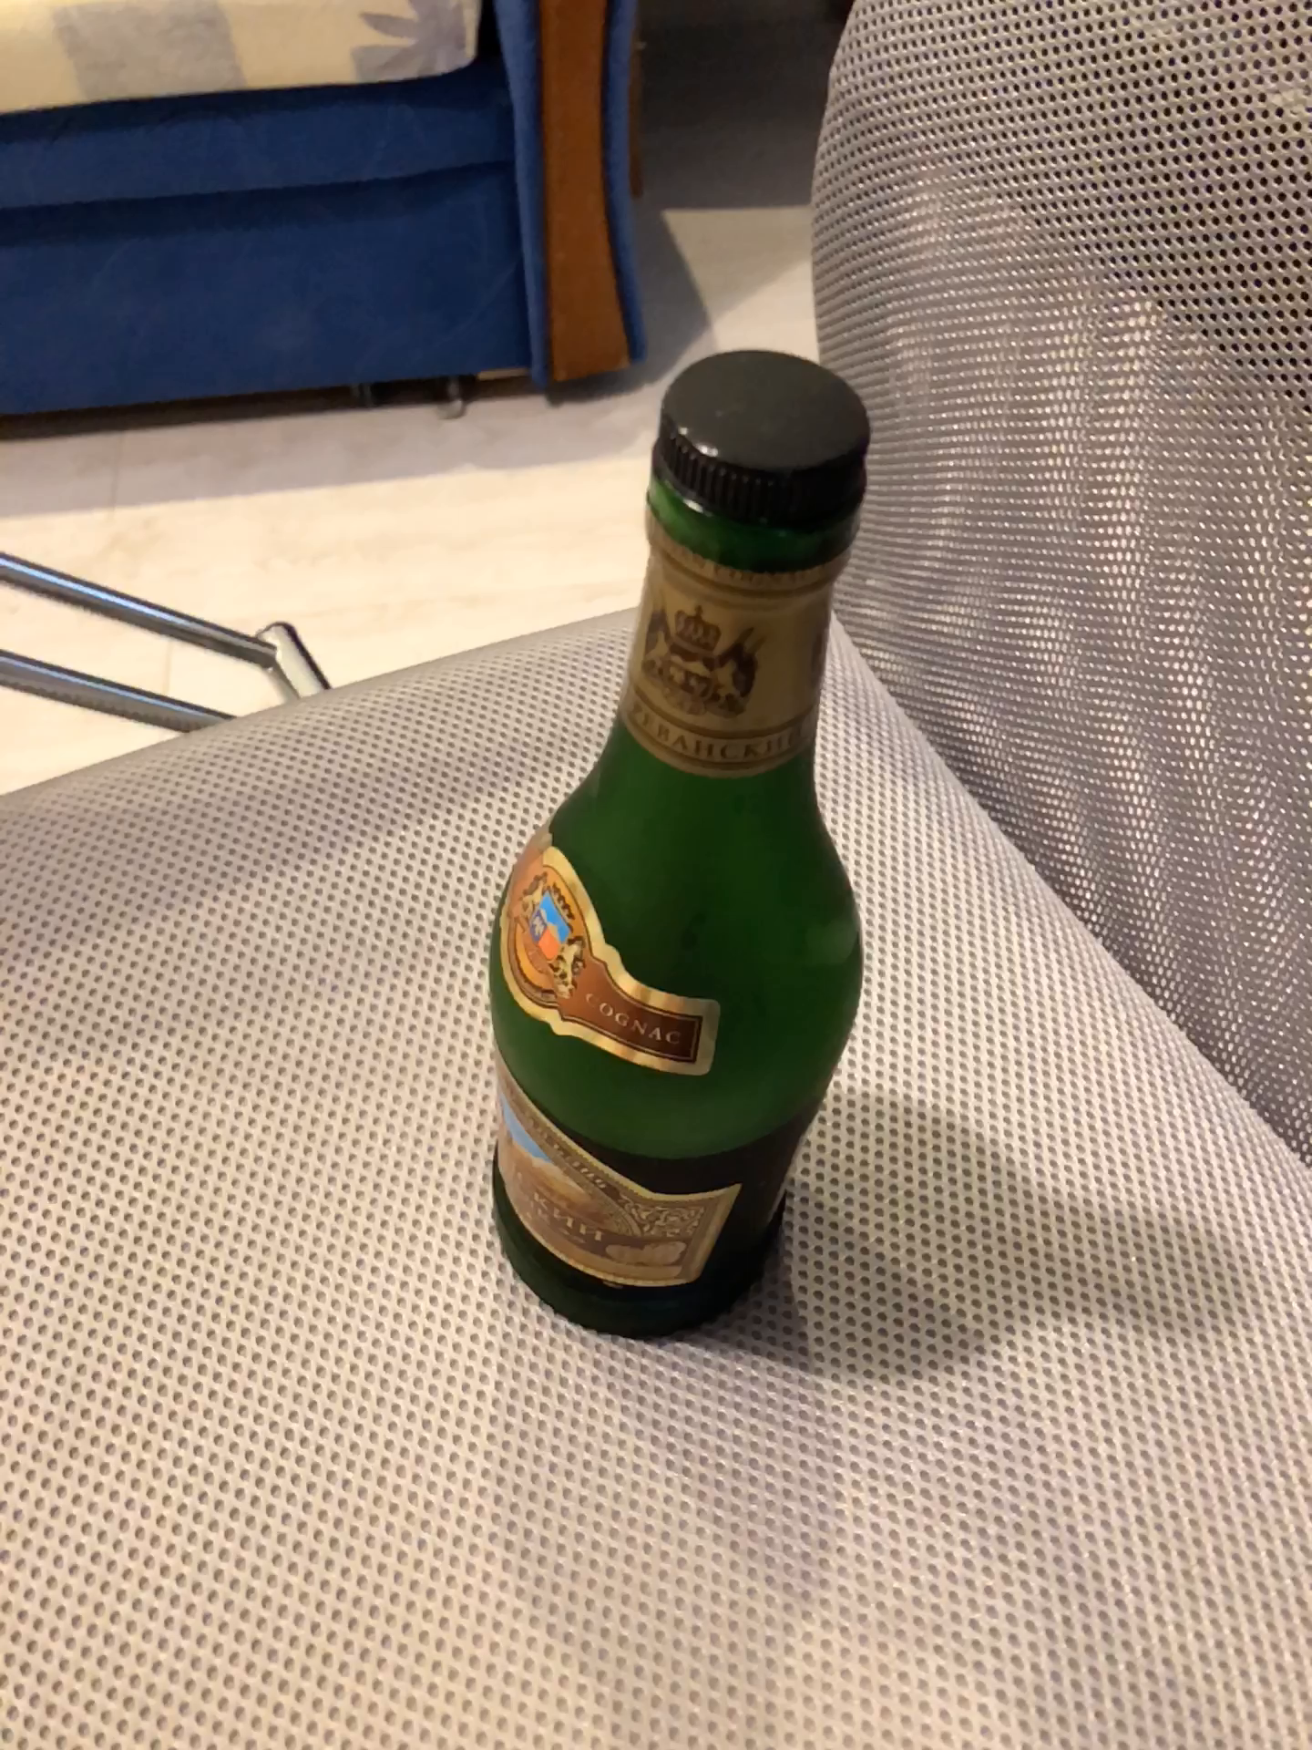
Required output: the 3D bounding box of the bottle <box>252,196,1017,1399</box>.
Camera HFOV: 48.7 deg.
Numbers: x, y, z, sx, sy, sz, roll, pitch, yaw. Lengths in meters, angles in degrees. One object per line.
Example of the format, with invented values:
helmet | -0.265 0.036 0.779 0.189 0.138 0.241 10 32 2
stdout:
bottle | -0.005 0.011 0.282 0.074 0.239 0.078 0 52 0
